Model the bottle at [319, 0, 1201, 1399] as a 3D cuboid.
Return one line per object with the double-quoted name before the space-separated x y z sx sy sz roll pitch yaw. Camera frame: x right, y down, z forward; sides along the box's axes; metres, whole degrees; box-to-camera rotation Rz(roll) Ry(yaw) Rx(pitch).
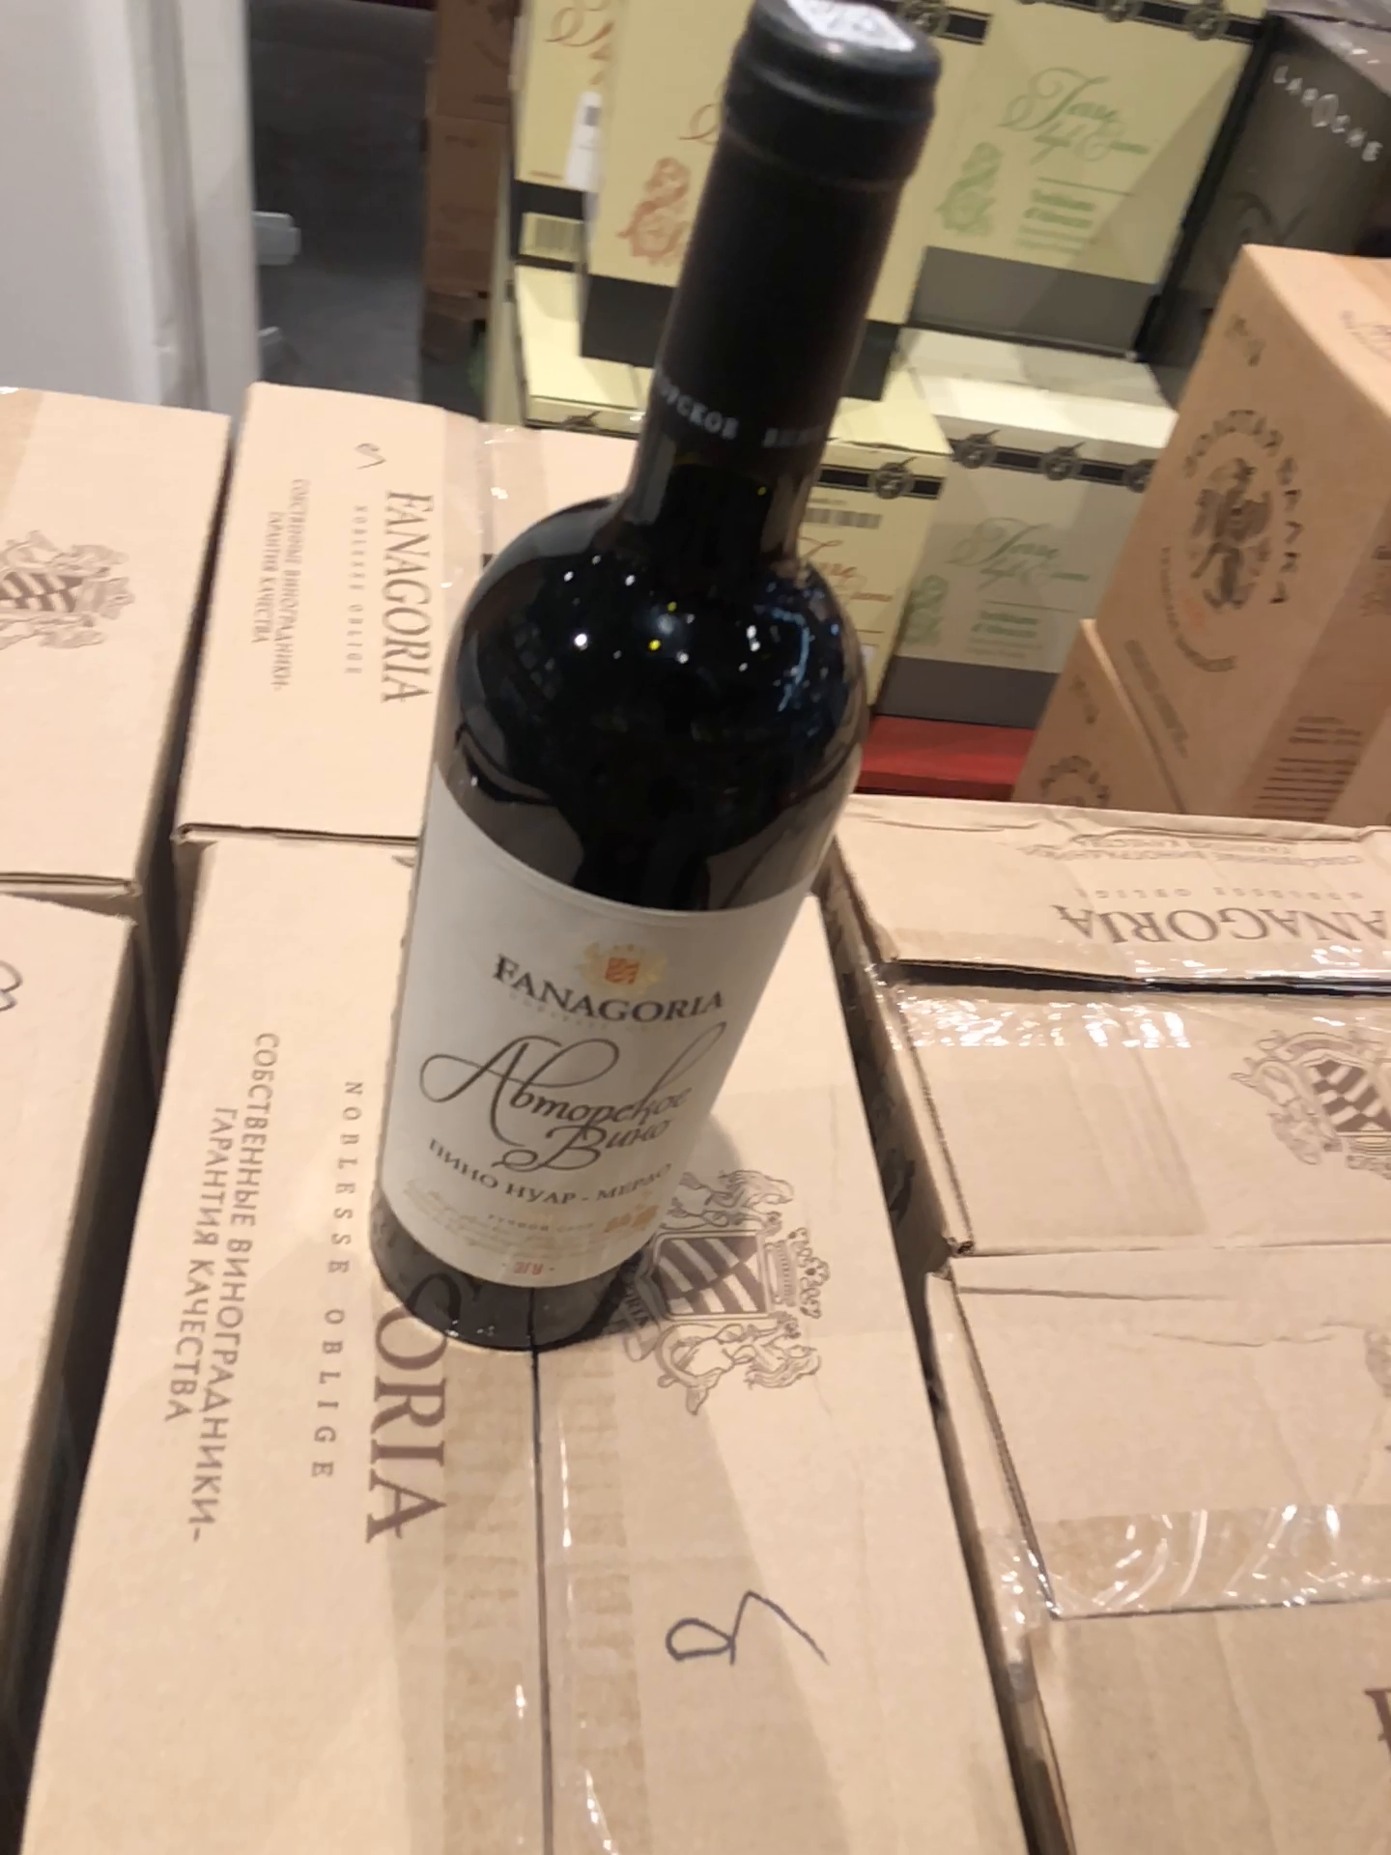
"bottle" -0.016 -0.022 0.326 0.100 0.308 0.091 8 44 -9
